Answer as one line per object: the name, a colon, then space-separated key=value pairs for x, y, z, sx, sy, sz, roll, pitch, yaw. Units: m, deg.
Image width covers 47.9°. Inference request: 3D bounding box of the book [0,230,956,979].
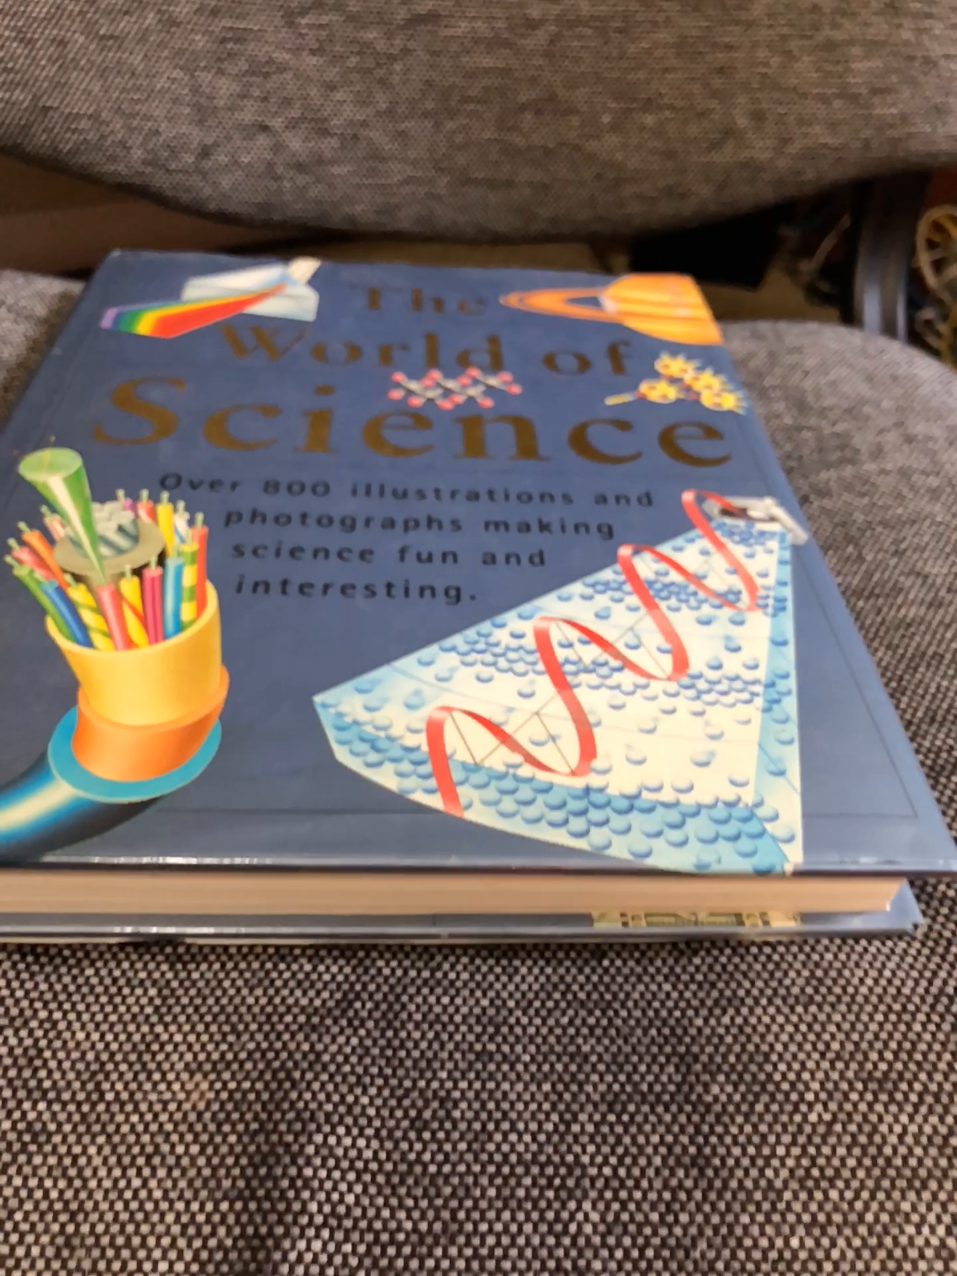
book: x=-0.025 y=-0.039 z=0.299 sx=0.220 sy=0.030 sz=0.277 roll=1 pitch=41 yaw=-6
